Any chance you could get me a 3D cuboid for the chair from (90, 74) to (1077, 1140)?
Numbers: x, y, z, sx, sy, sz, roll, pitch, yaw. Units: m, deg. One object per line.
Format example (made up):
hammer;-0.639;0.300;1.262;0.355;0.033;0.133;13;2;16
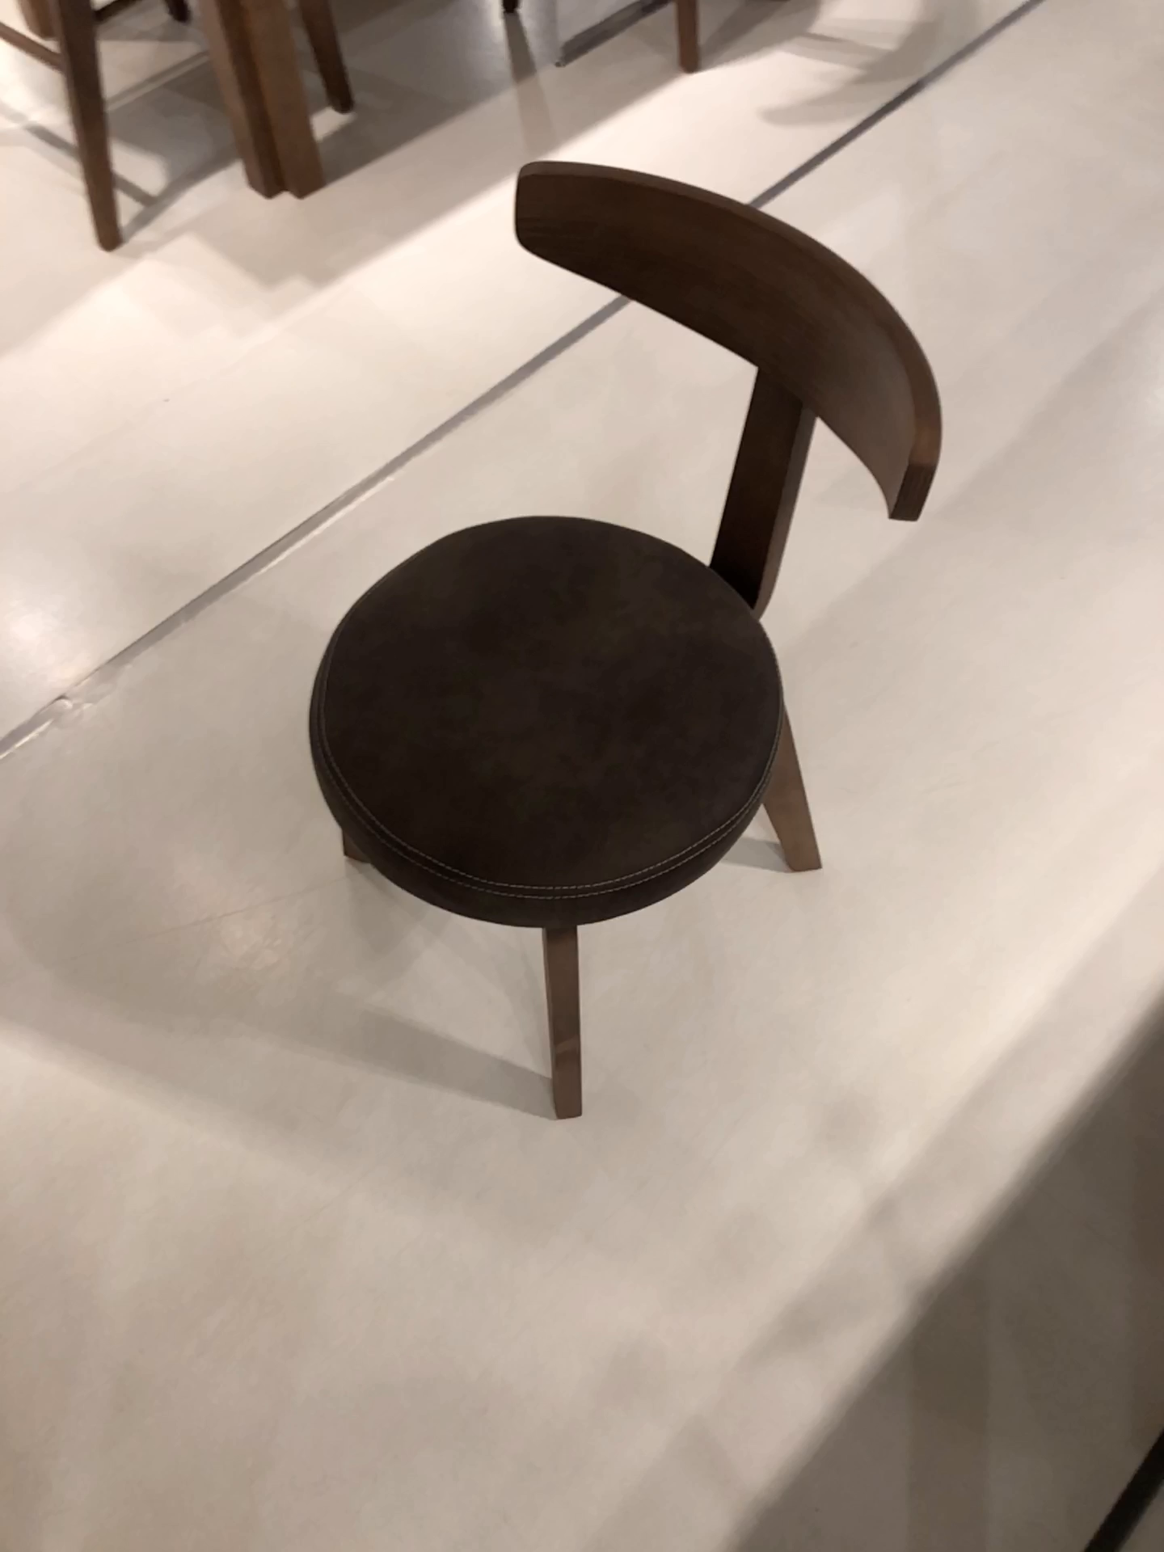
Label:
chair;0.003;-0.107;1.177;0.491;0.706;0.471;-36;63;-19
